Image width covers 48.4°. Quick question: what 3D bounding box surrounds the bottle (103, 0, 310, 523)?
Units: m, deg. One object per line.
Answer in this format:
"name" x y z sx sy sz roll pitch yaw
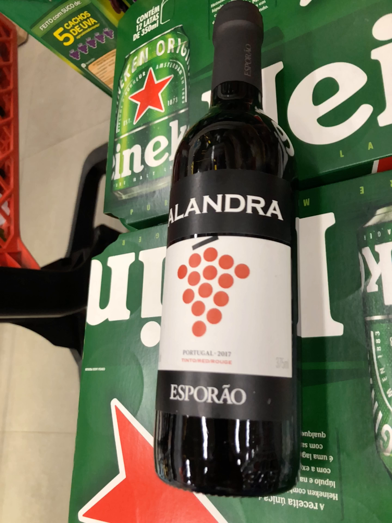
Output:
"bottle" 0.014 -0.029 0.194 0.060 0.060 0.240 -3 73 21
